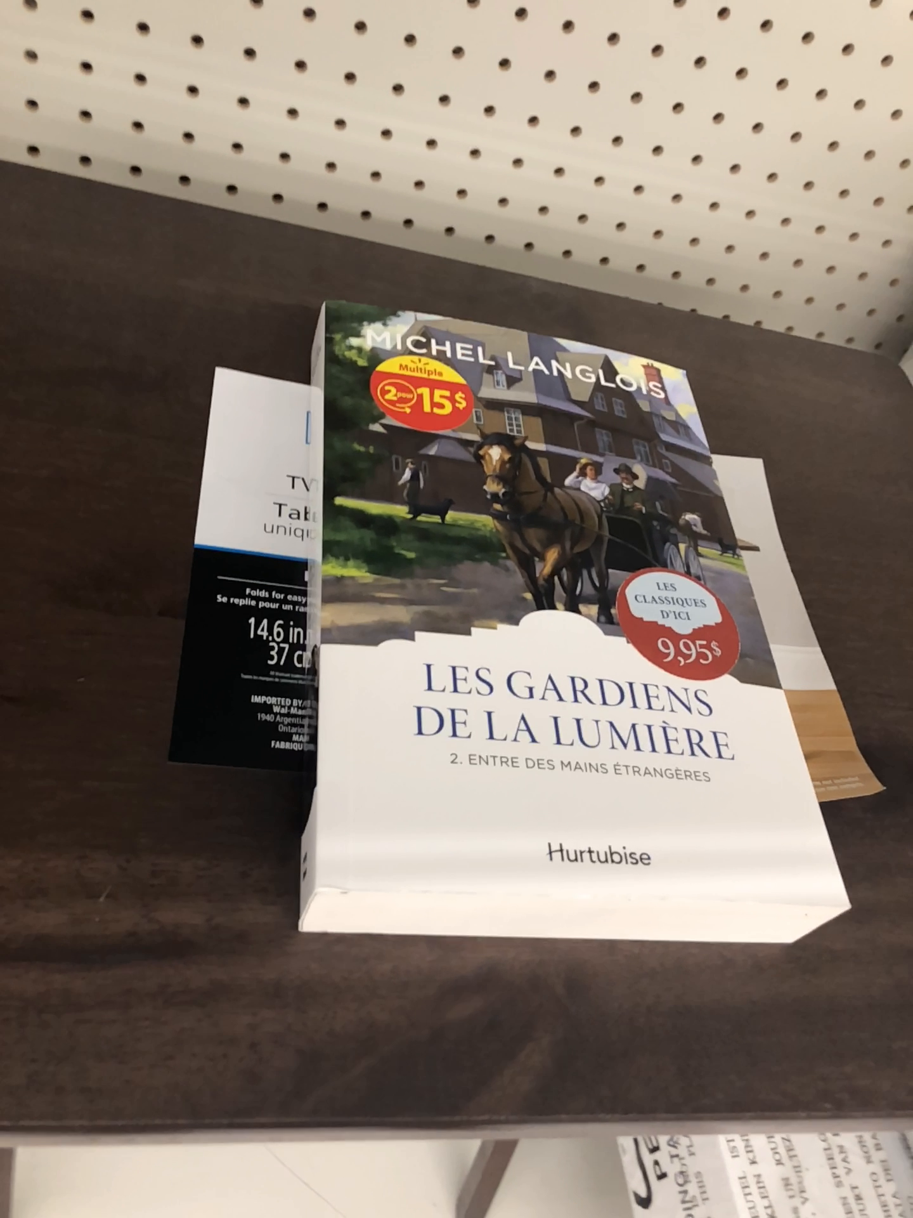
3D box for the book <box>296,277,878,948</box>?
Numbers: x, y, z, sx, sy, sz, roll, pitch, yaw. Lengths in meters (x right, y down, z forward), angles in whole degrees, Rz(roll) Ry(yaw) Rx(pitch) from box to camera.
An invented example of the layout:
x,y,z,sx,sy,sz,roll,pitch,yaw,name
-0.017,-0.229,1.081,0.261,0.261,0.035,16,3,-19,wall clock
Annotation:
x,y,z,sx,sy,sz,roll,pitch,yaw,name
0.030,-0.009,0.348,0.158,0.039,0.235,7,52,-16,book
